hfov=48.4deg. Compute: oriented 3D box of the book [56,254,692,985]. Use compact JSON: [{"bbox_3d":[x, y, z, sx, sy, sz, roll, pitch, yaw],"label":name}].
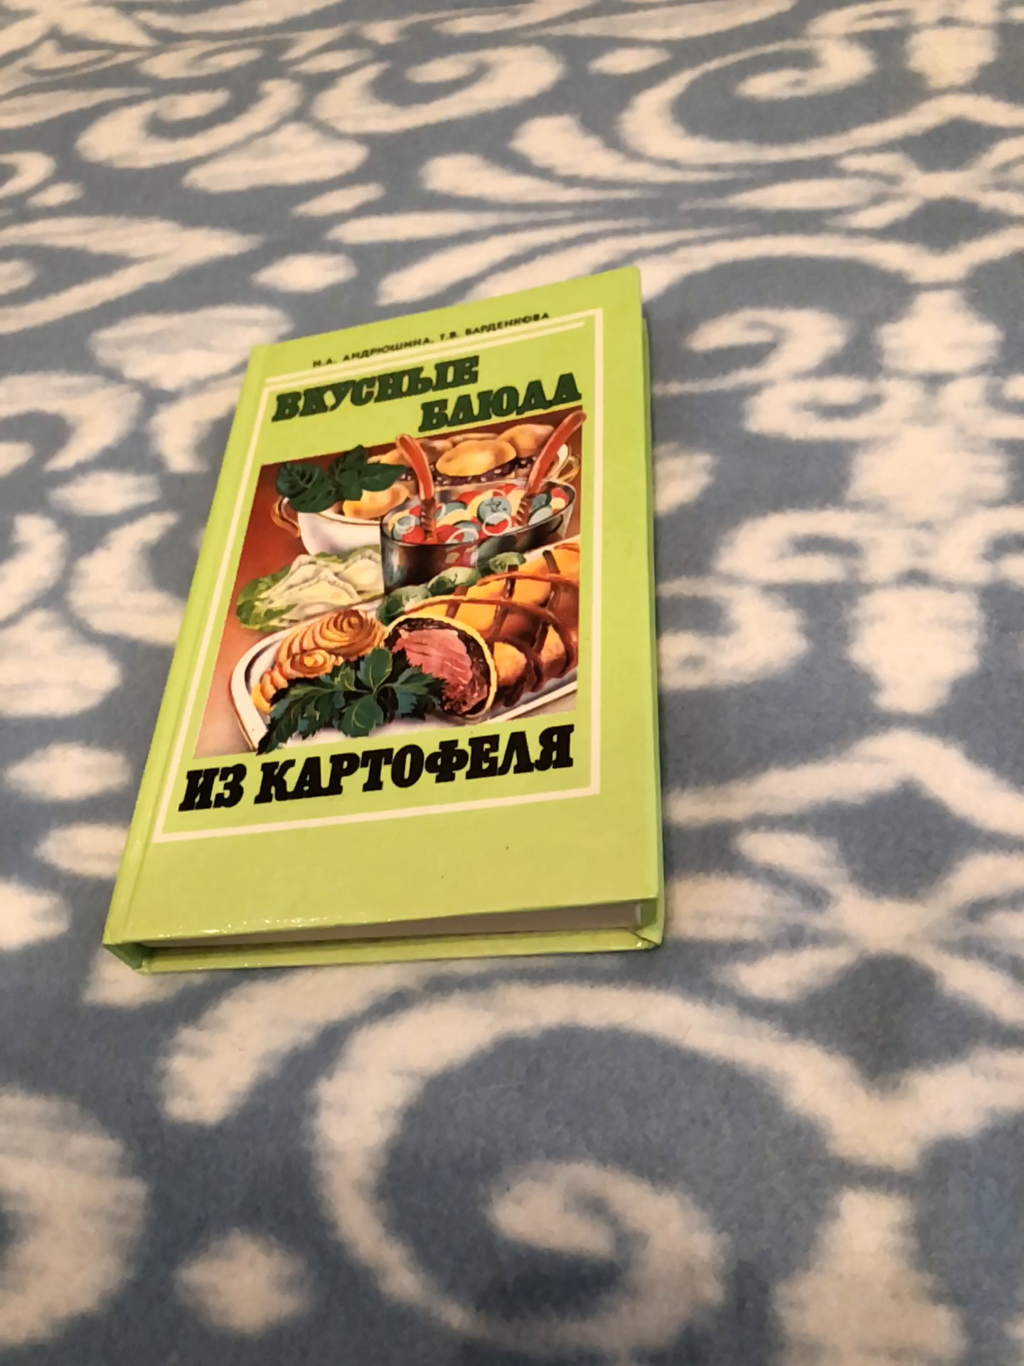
[{"bbox_3d":[-0.027,-0.026,0.300,0.135,0.025,0.202,-7,54,15],"label":"book"}]
